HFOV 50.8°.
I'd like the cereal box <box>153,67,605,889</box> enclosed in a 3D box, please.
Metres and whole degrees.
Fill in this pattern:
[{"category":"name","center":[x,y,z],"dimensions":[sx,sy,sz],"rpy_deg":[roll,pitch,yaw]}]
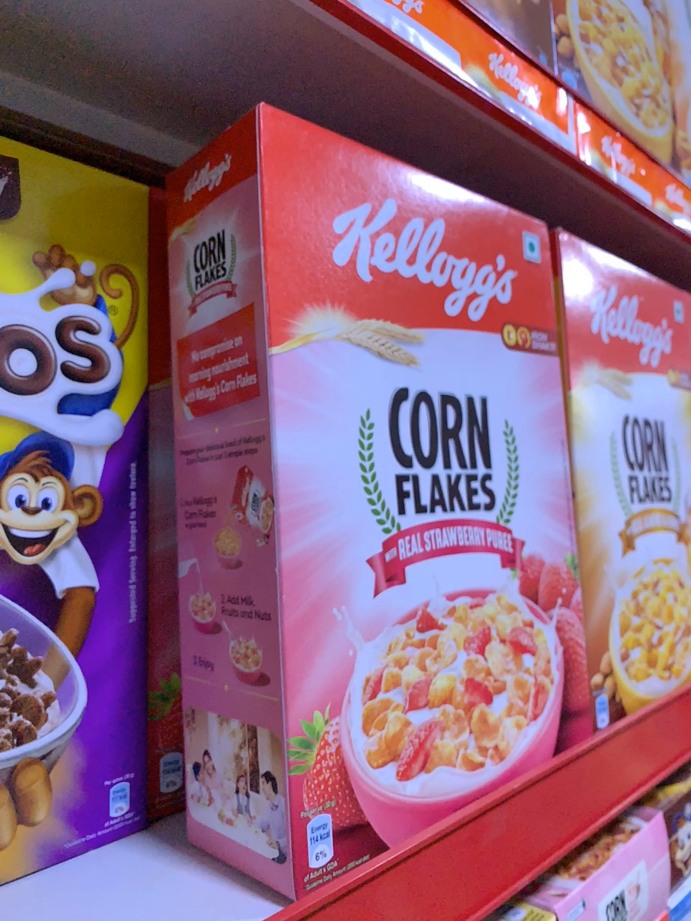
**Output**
[{"category":"cereal box","center":[0.024,0.003,0.300],"dimensions":[0.190,0.241,0.060],"rpy_deg":[3,-8,-45]}]
